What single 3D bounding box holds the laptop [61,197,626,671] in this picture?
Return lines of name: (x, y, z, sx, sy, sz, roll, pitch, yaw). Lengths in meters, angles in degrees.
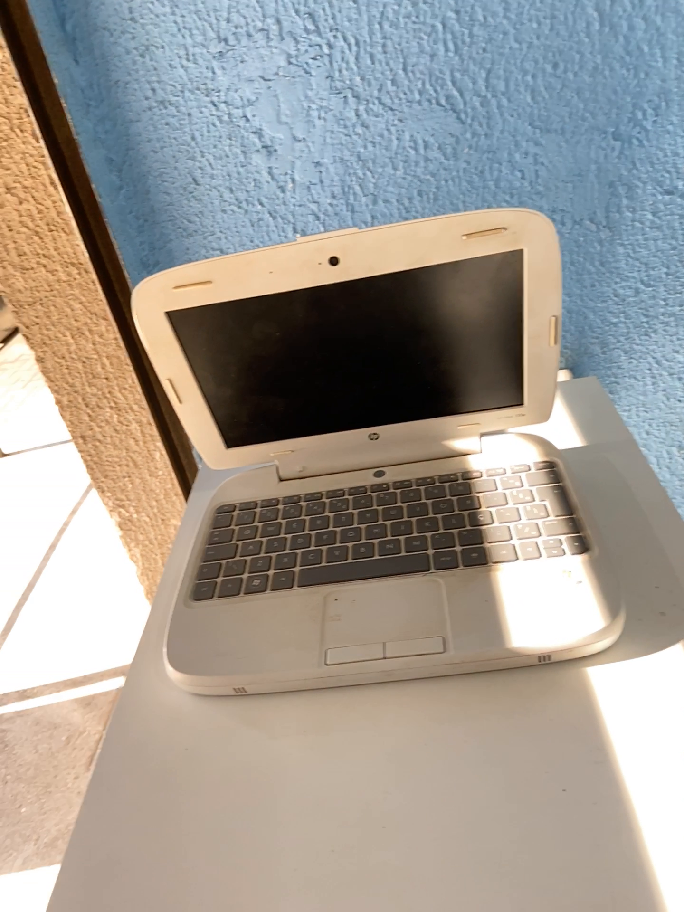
laptop: (0.009, -0.017, 0.418, 0.247, 0.172, 0.178, -9, 33, 8)
